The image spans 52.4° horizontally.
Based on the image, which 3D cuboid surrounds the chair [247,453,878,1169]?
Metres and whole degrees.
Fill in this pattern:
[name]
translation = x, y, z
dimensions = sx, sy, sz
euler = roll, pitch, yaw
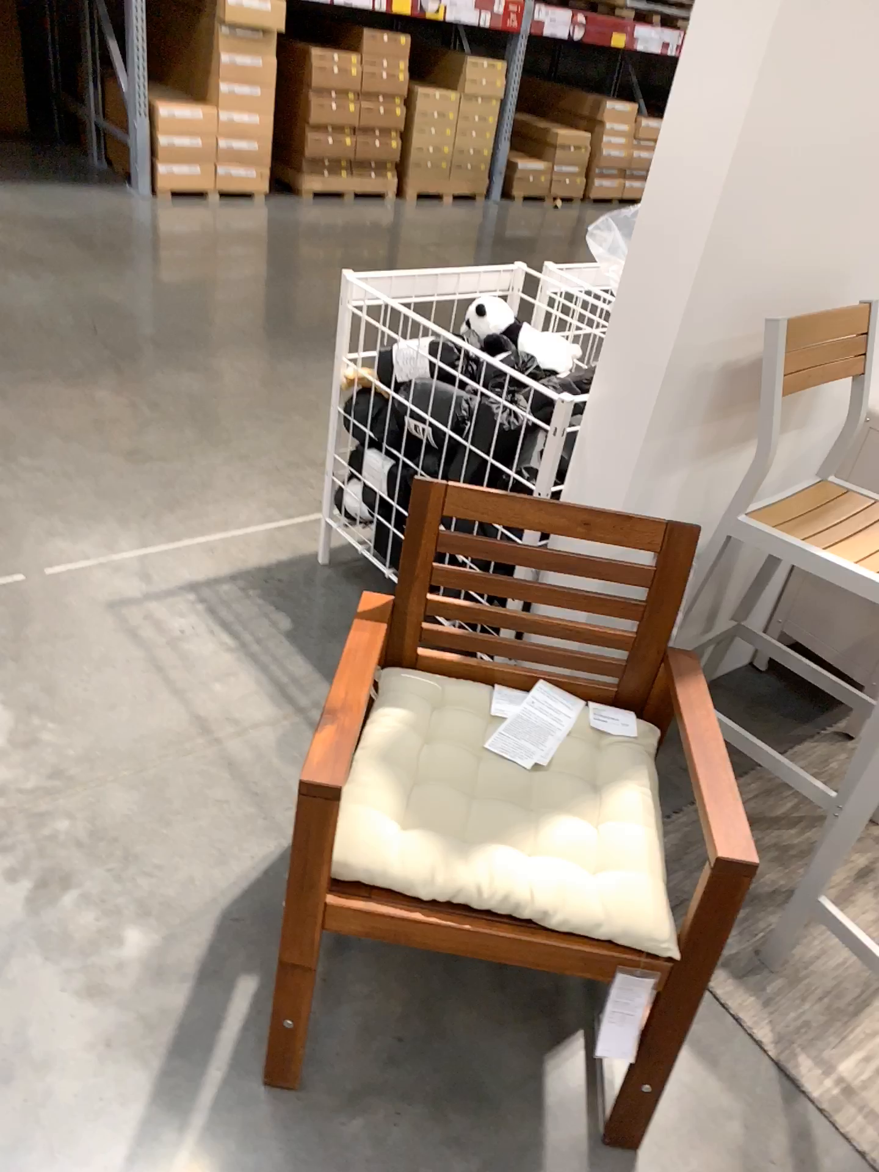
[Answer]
[chair]
translation = 0.119, 0.317, 1.414
dimensions = 0.650, 0.706, 0.724
euler = 10, 34, -2
